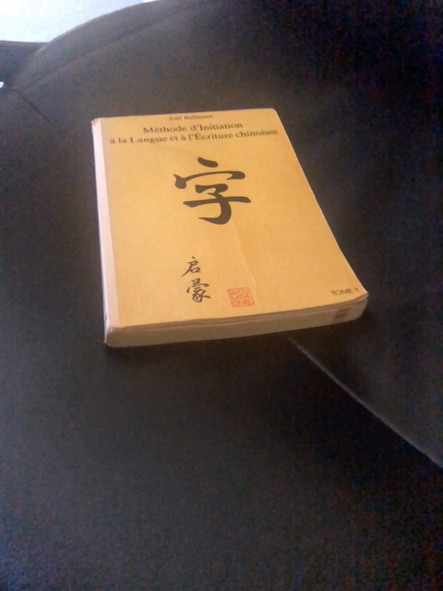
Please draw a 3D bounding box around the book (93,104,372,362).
[{"bbox_3d":[-0.010,-0.063,0.347,0.152,0.028,0.221,-8,48,-7],"label":"book"}]
